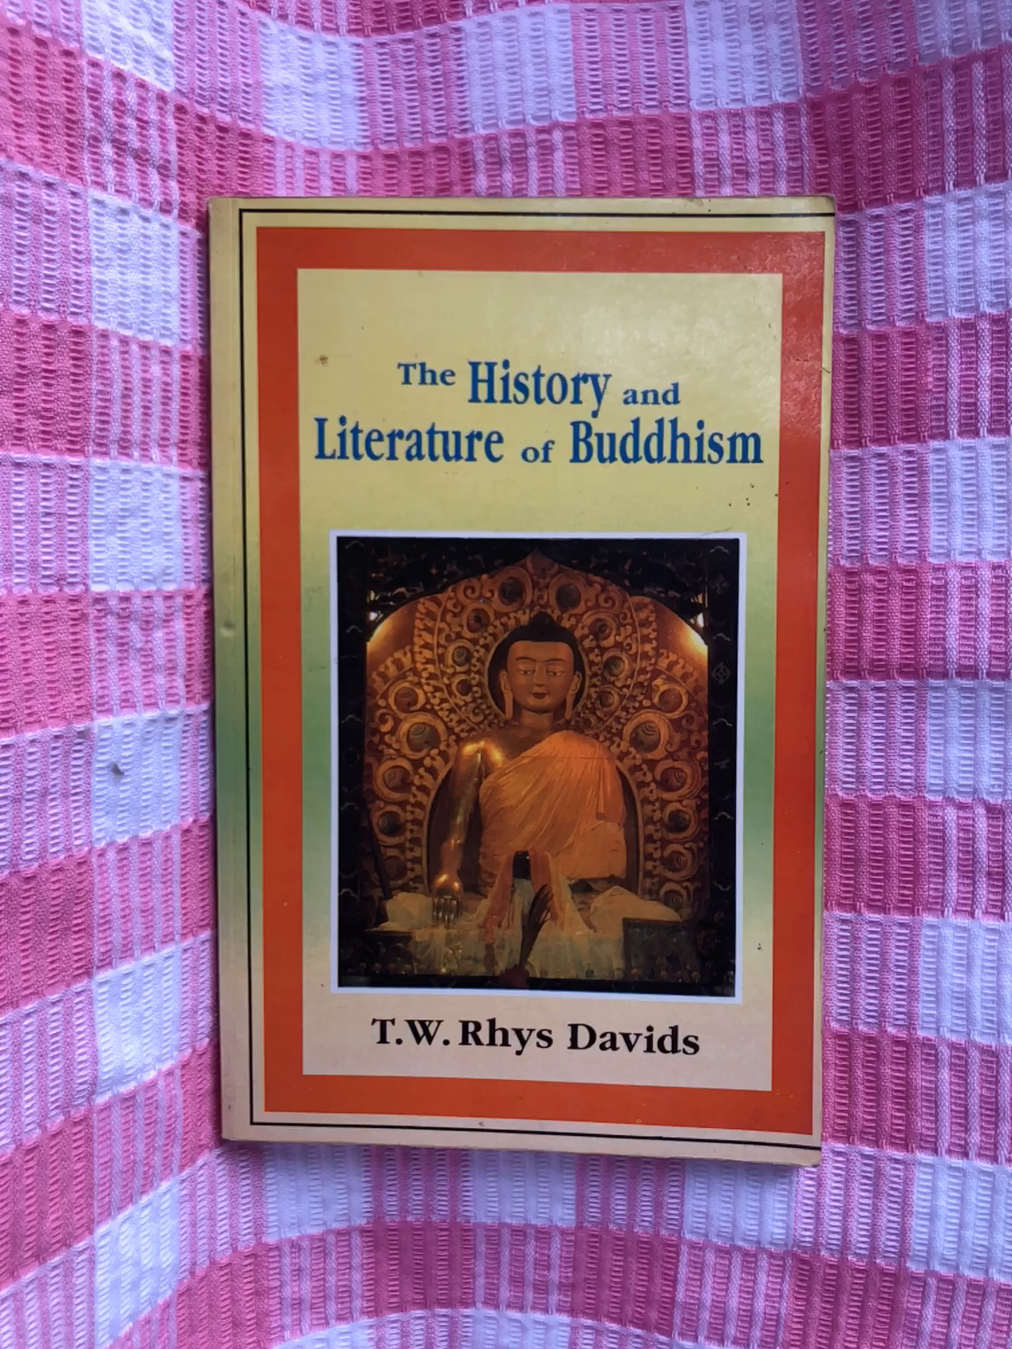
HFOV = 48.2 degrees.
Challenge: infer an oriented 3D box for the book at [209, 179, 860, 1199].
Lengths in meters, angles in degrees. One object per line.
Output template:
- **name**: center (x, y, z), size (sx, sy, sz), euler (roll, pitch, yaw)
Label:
- **book**: center (0.004, 0.004, 0.260), size (0.020, 0.140, 0.220), euler (-34, 125, -83)
